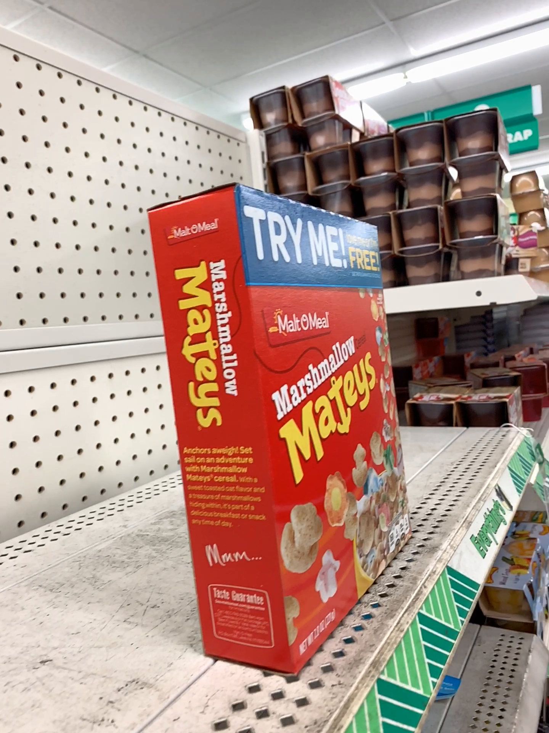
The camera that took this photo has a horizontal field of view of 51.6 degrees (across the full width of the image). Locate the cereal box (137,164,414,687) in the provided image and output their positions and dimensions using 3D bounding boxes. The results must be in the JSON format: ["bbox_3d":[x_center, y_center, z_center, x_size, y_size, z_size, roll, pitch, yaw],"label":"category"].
[{"bbox_3d":[0.017,0.019,0.336,0.050,0.230,0.180,-5,4,32],"label":"cereal box"}]
